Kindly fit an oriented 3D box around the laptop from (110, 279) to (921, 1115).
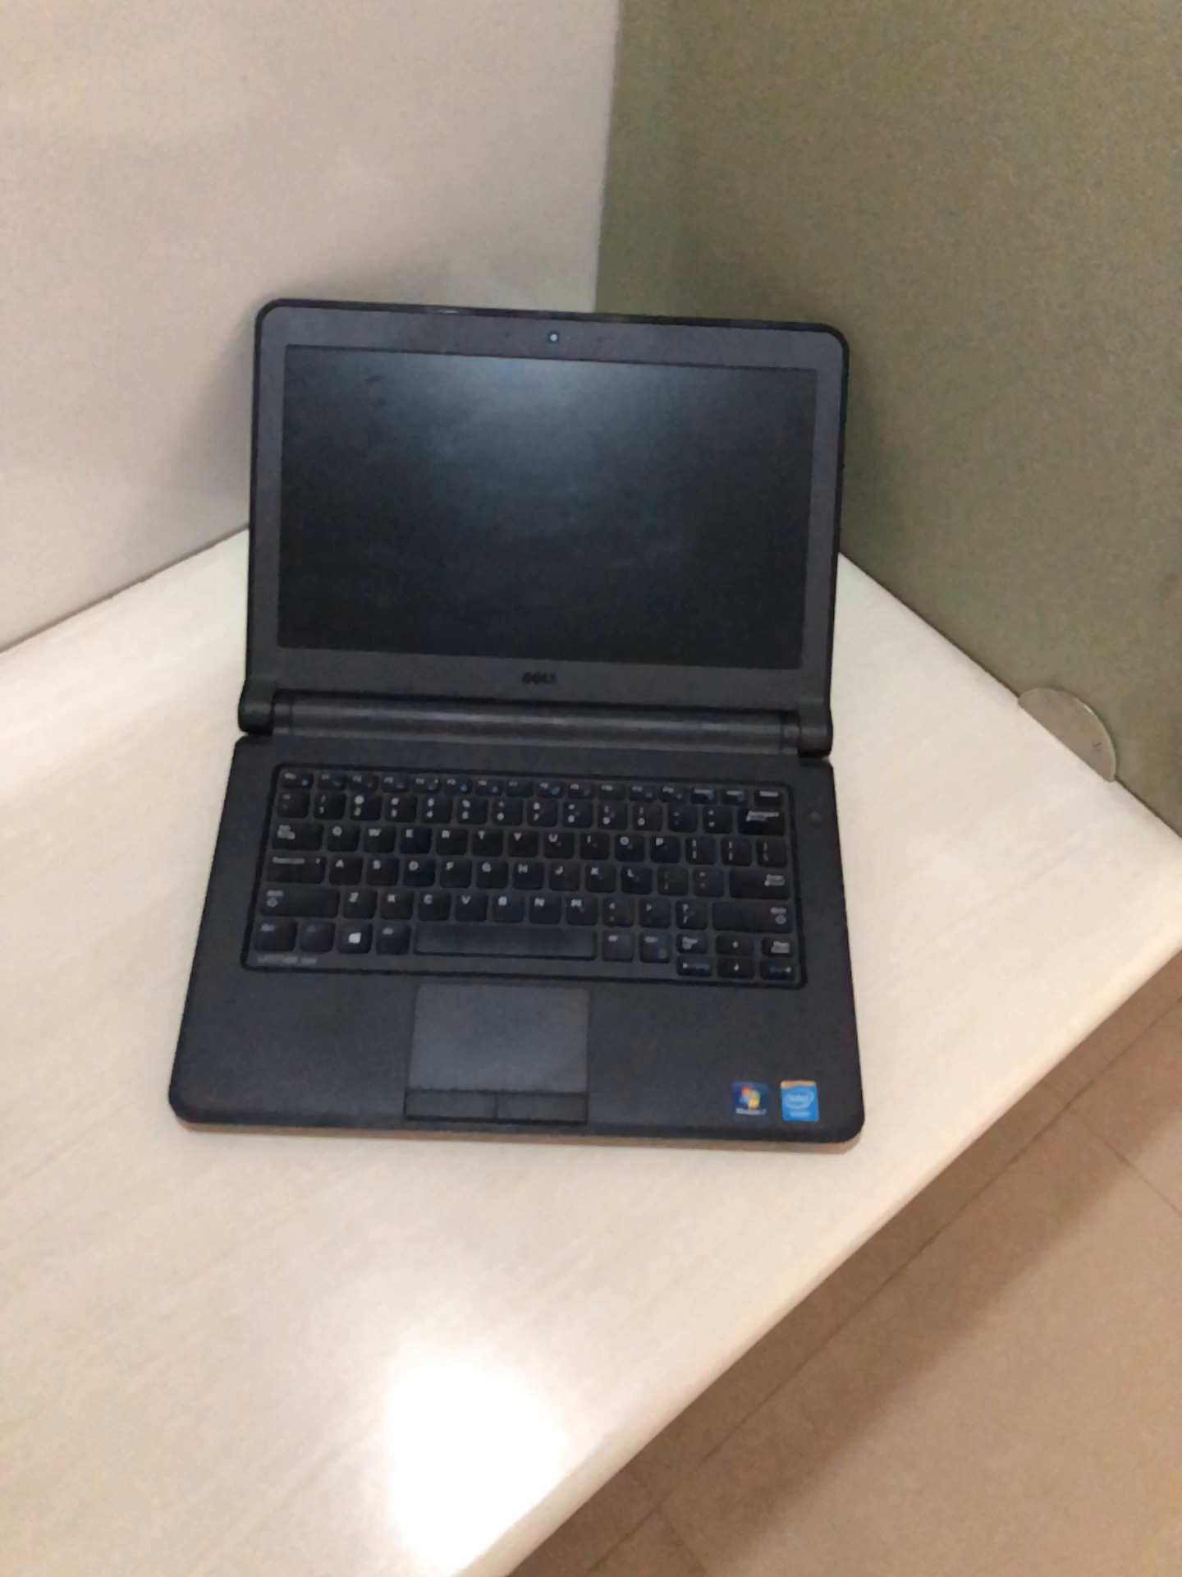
[{"bbox_3d":[-0.026,-0.061,0.650,0.309,0.128,0.396,2,59,0],"label":"laptop"}]
